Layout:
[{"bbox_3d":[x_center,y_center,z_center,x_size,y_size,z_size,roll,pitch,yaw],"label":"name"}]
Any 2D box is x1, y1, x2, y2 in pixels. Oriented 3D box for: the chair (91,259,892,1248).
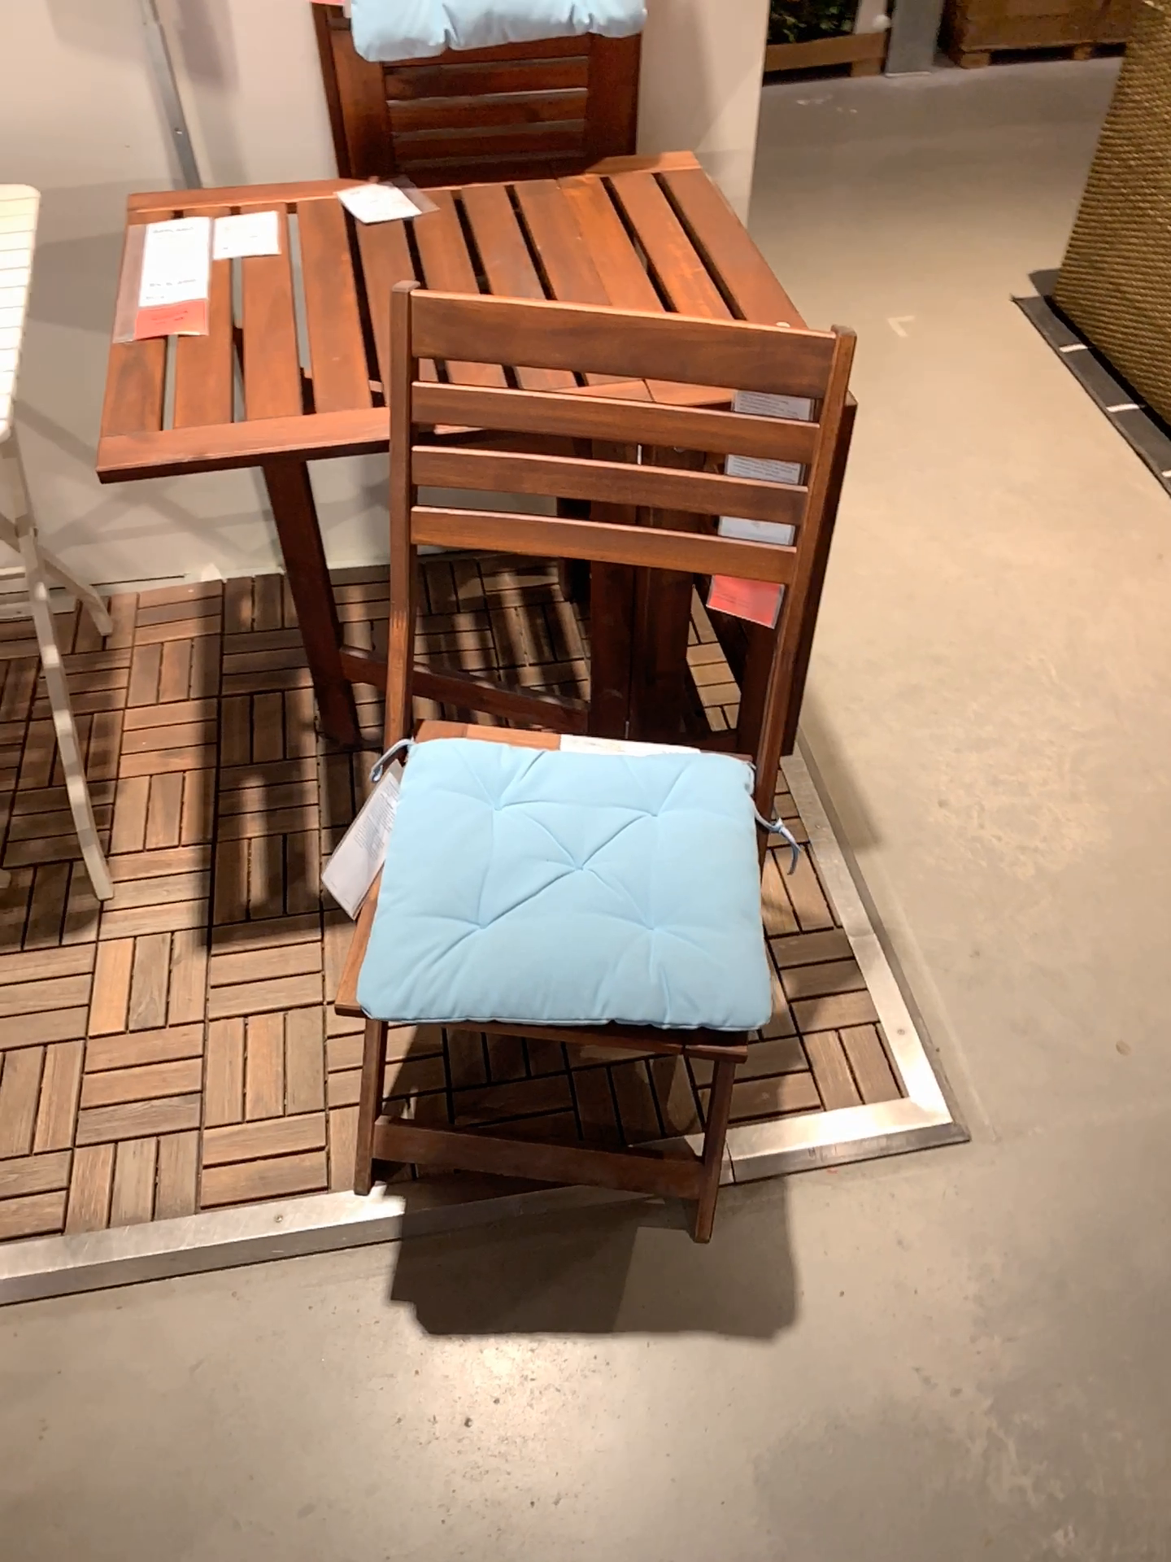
[{"bbox_3d":[-0.026,0.013,1.149,0.470,0.777,0.522,6,48,5],"label":"chair"}]
